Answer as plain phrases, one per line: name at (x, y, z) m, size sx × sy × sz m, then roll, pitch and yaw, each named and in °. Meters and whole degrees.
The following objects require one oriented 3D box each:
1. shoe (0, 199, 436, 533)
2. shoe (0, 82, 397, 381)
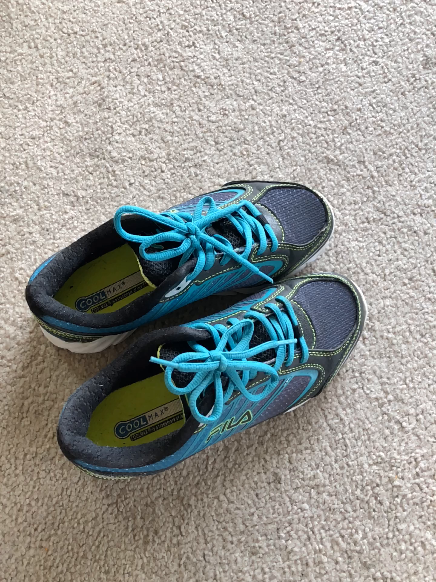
shoe at (0.009, 0.053, 0.354) m, size 0.271 × 0.119 × 0.105 m, roll -23°, pitch 74°, yaw -7°
shoe at (-0.024, -0.038, 0.382) m, size 0.274 × 0.119 × 0.102 m, roll -24°, pitch 77°, yaw -7°
